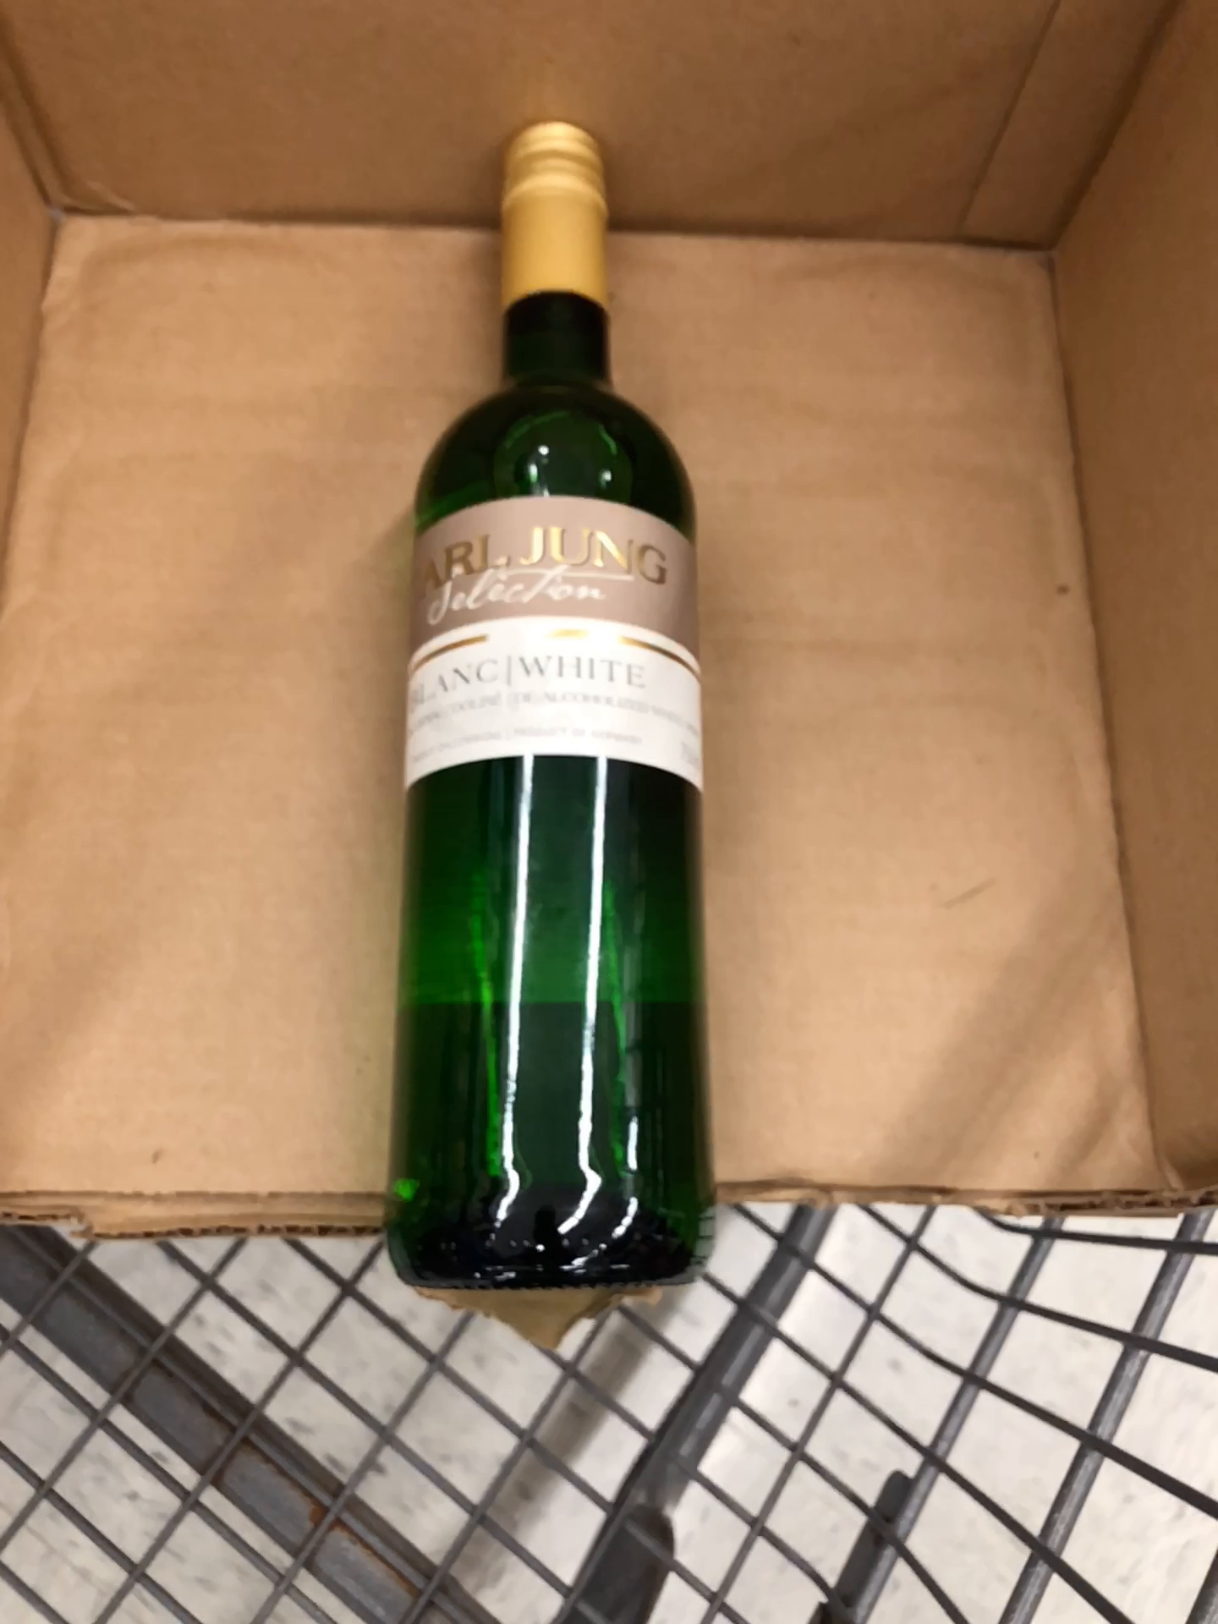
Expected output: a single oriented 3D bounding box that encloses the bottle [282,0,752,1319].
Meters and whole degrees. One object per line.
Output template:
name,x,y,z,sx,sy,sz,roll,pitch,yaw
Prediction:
bottle,-0.013,-0.059,0.327,0.080,0.100,0.331,-2,74,6
